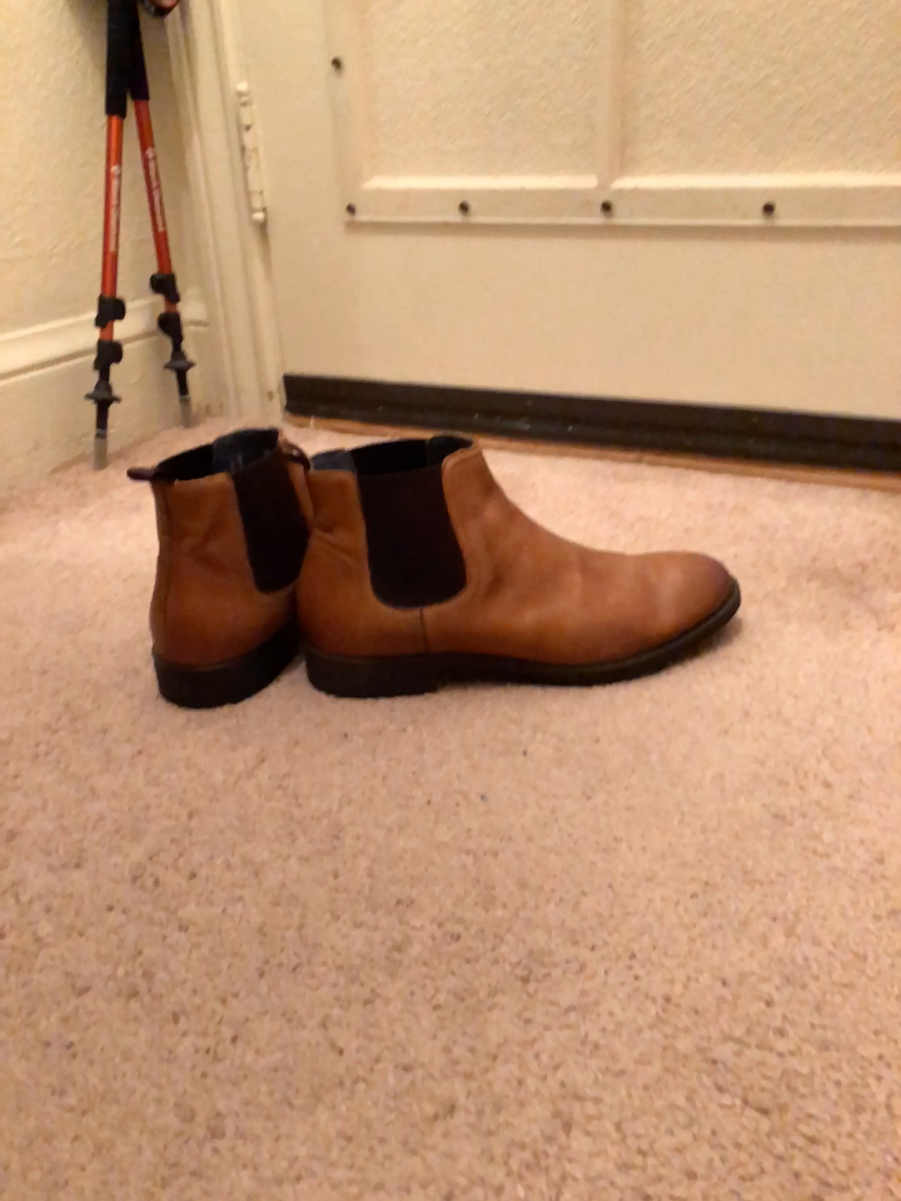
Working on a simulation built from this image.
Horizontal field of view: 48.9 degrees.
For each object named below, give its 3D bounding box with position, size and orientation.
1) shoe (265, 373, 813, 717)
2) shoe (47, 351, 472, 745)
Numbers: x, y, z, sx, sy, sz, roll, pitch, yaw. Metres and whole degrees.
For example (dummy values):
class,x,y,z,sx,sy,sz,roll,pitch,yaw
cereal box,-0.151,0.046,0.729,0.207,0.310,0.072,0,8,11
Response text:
class,x,y,z,sx,sy,sz,roll,pitch,yaw
shoe,0.050,-0.041,0.639,0.312,0.165,0.110,-5,26,-5
shoe,-0.110,-0.060,0.716,0.109,0.165,0.313,12,30,27
